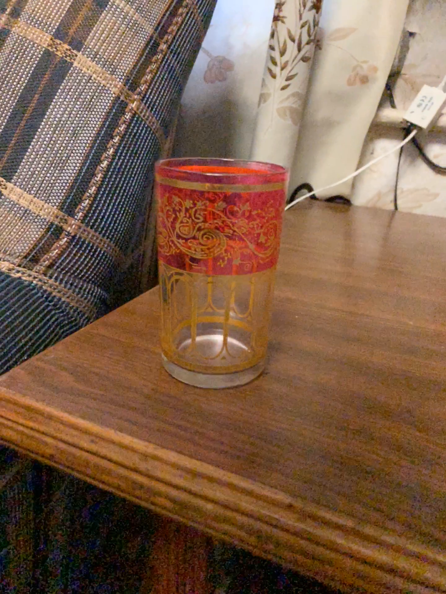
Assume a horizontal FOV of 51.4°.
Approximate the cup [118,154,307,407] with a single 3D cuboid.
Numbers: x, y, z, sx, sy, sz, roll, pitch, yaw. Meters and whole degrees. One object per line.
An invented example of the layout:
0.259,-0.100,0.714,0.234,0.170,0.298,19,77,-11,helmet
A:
-0.003,-0.015,0.227,0.066,0.099,0.070,3,20,-1,cup
